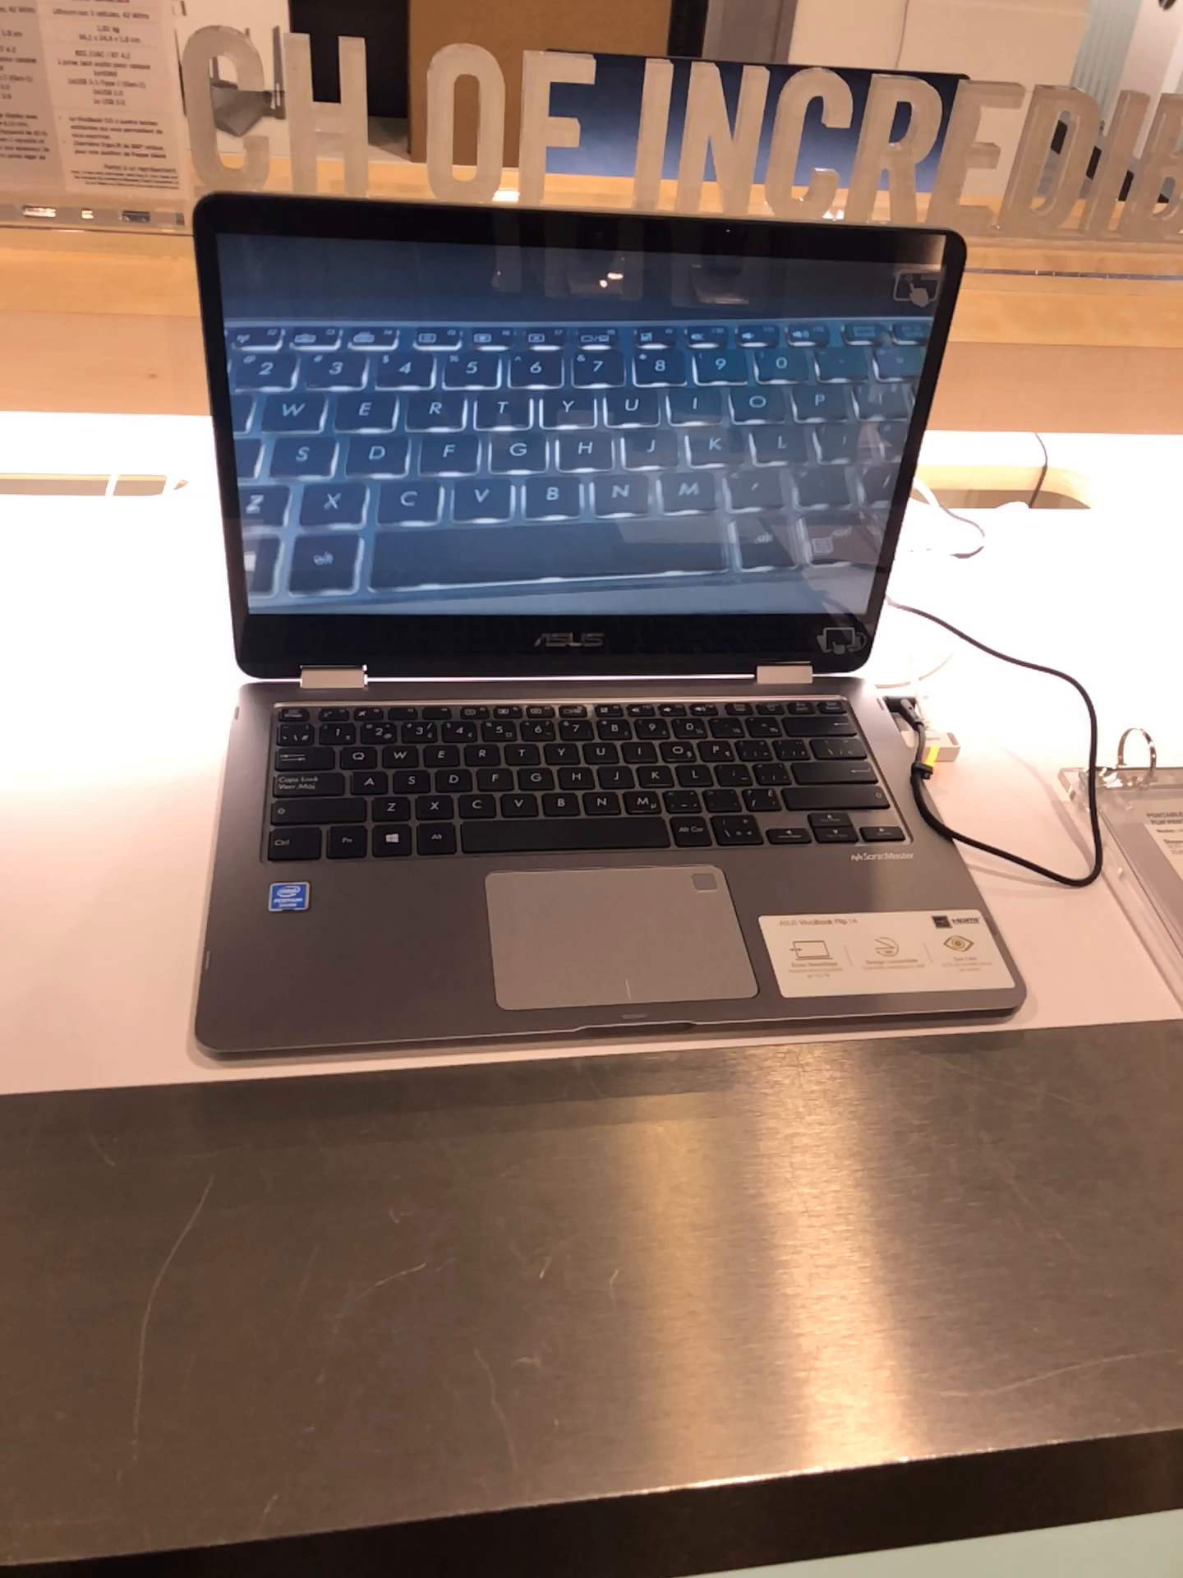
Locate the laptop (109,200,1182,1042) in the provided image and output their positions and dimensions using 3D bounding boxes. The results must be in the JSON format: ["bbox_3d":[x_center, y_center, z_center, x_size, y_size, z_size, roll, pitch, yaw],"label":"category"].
[{"bbox_3d":[0.011,-0.065,0.479,0.303,0.210,0.211,-1,42,-9],"label":"laptop"}]
